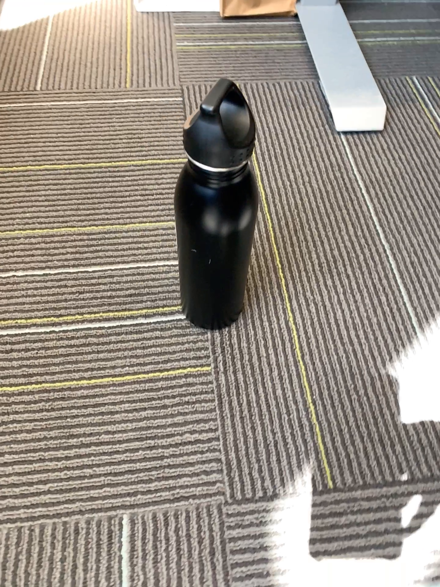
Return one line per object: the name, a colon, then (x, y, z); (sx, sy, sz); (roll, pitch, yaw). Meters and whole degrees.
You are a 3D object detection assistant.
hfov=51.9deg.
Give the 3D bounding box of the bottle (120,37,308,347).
bottle: (-0.006, -0.063, 0.391); (0.080, 0.249, 0.090); (36, 63, 19)
